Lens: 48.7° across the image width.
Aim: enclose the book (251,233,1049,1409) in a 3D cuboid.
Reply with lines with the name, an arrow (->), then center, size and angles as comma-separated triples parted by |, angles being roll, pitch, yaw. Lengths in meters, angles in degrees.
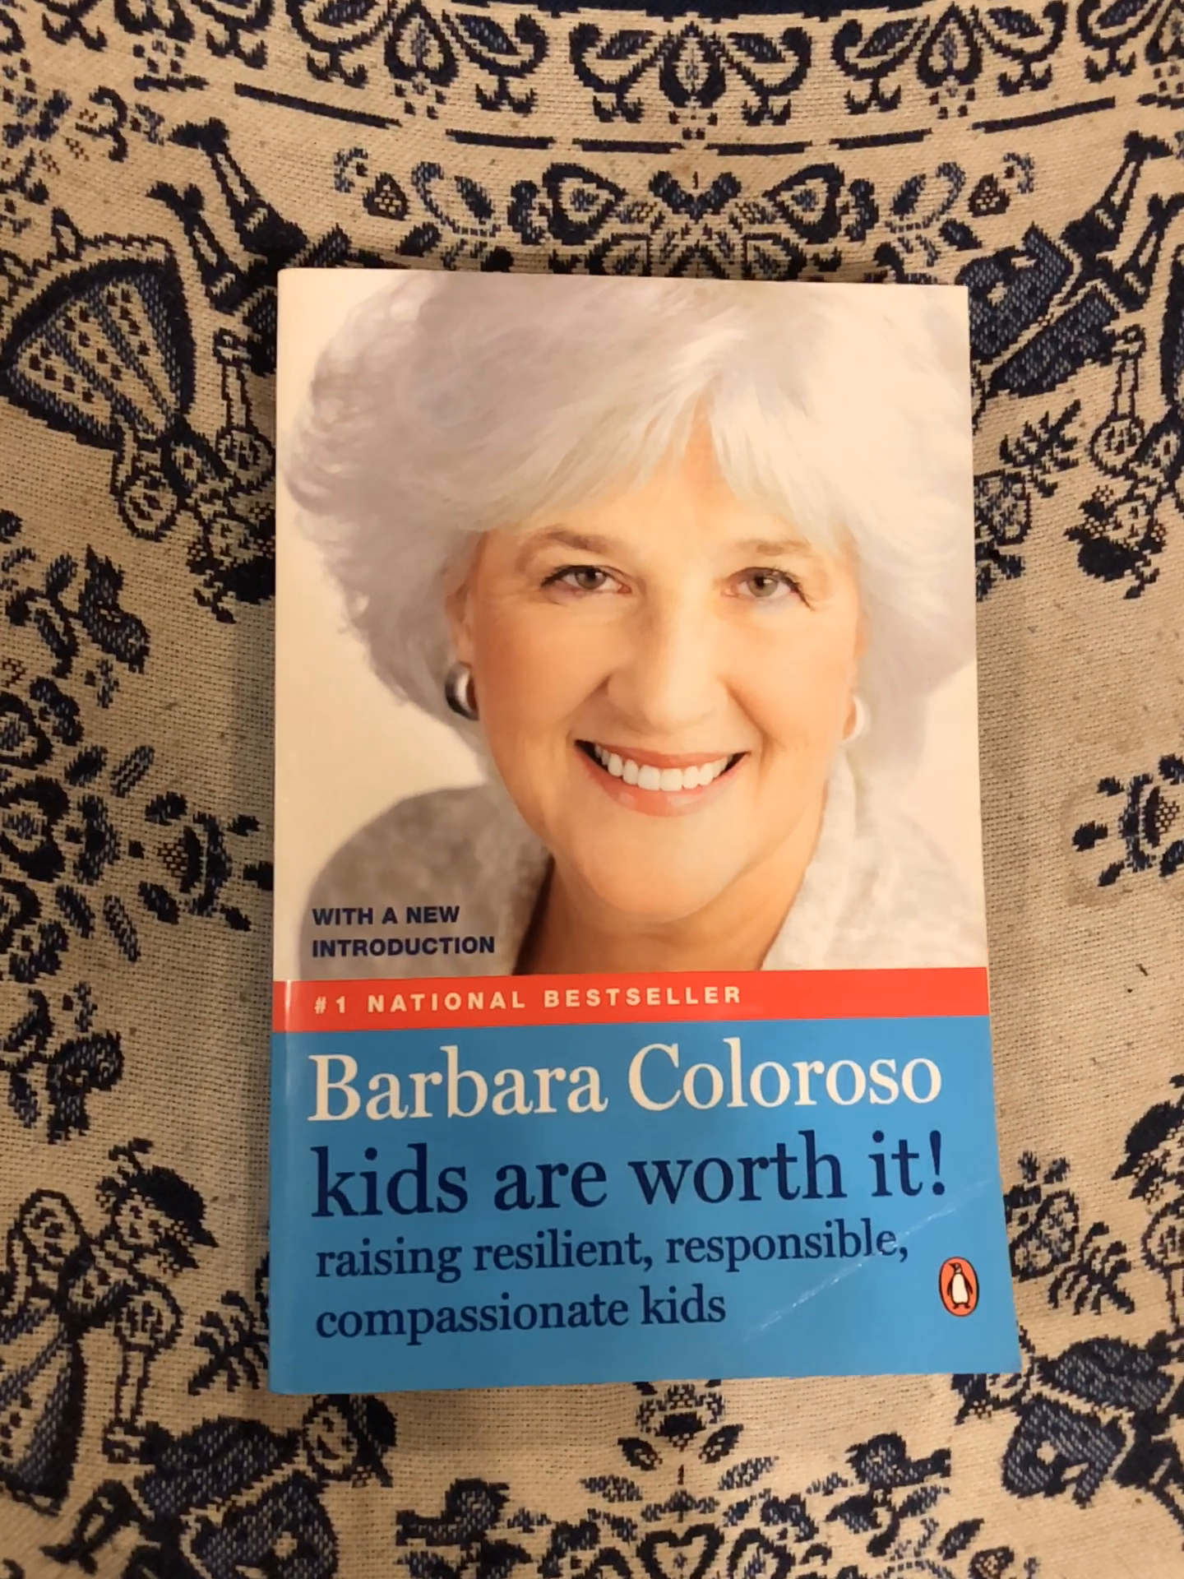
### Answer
book -> 0.011, 0.005, 0.277 | 0.150, 0.050, 0.220 | 1, 86, -6
